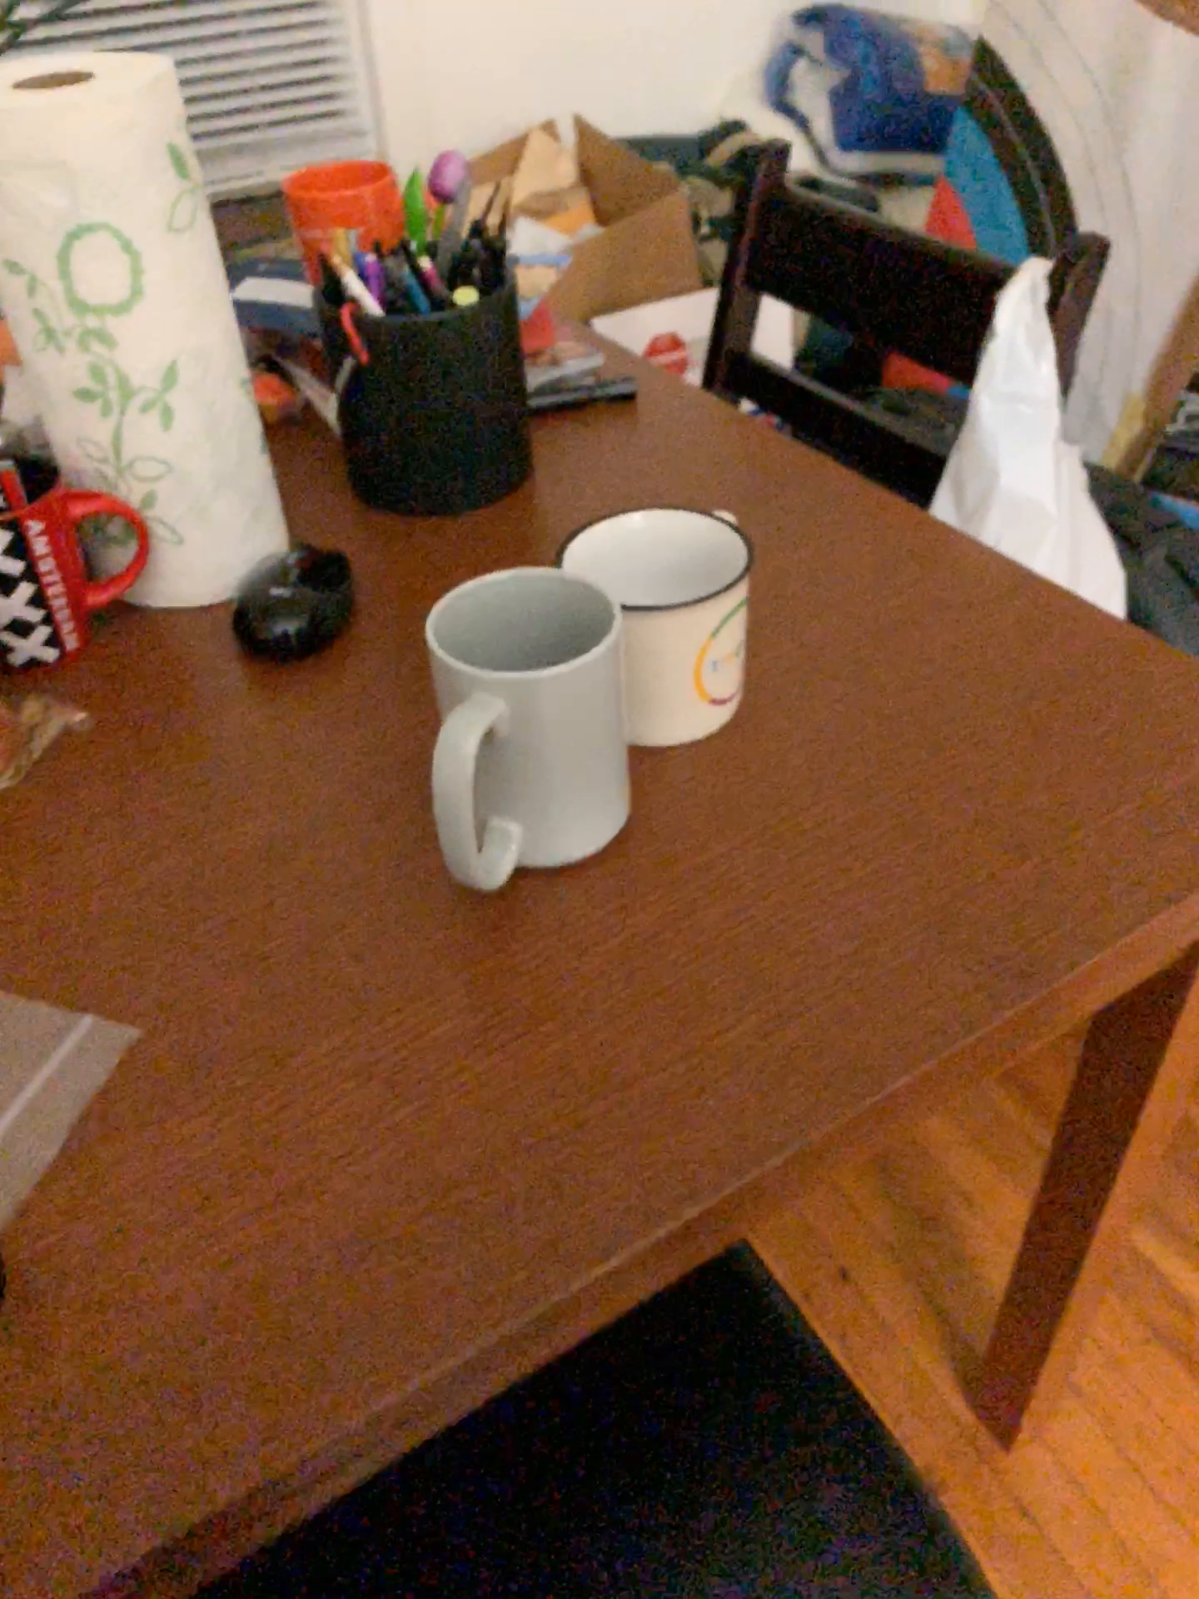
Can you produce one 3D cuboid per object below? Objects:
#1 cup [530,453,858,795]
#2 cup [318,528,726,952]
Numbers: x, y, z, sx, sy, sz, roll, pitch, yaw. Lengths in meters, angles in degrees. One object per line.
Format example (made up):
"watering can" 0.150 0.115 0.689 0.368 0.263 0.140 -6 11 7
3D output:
"cup" 0.050 -0.094 0.635 0.100 0.099 0.130 27 50 31
"cup" -0.027 -0.032 0.543 0.100 0.099 0.140 27 50 31
